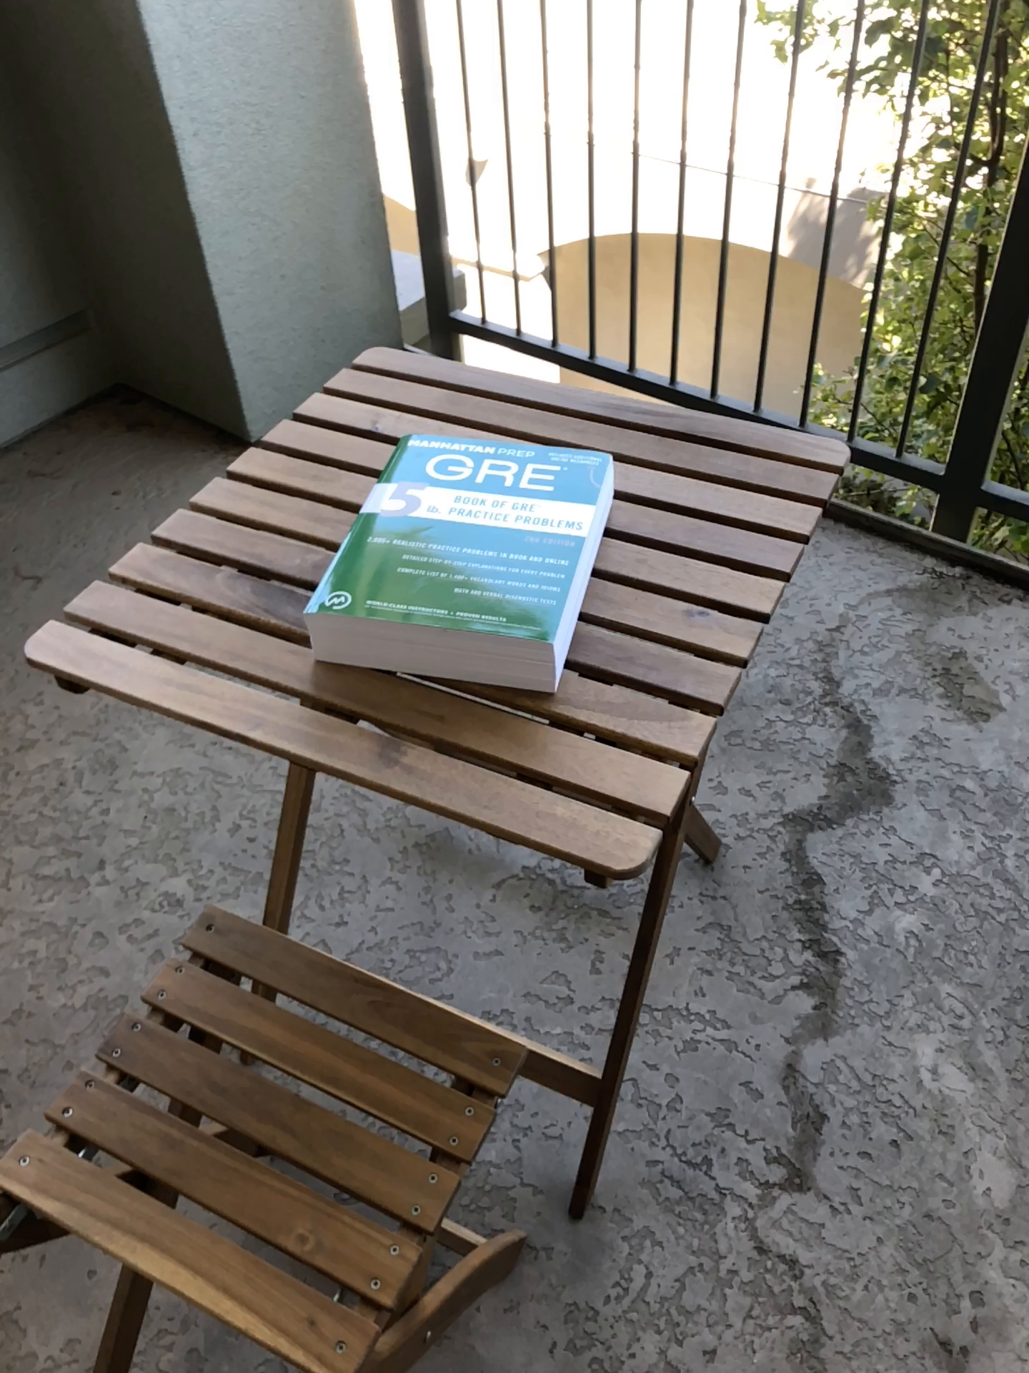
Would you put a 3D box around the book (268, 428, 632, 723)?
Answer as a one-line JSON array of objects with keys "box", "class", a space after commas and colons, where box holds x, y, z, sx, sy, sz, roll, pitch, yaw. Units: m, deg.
[{"box": [-0.043, -0.115, 1.031, 0.250, 0.060, 0.311, 7, 45, 11], "class": "book"}]
